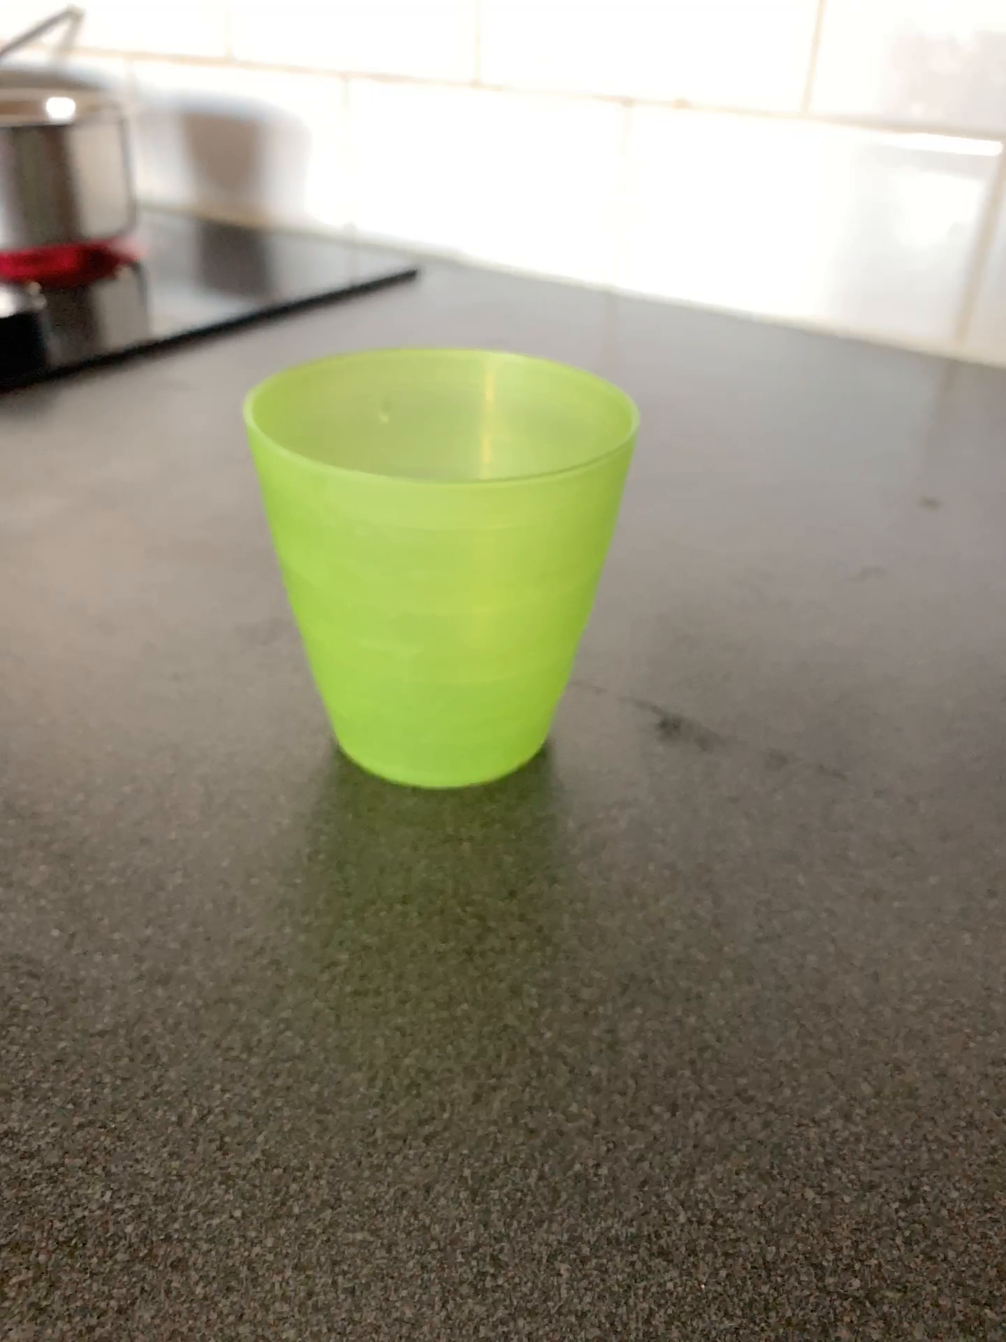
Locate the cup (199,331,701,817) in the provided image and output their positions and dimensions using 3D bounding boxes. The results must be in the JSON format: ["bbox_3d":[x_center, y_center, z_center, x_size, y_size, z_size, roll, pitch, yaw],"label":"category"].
[{"bbox_3d":[-0.011,-0.024,0.244,0.089,0.080,0.078,1,34,-2],"label":"cup"}]
